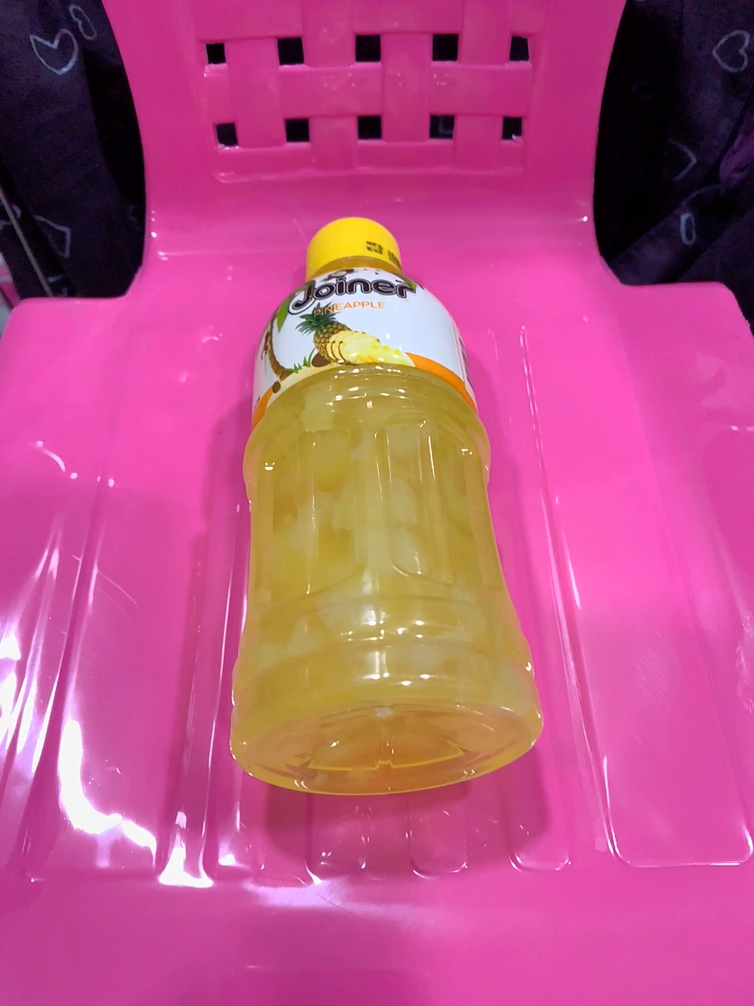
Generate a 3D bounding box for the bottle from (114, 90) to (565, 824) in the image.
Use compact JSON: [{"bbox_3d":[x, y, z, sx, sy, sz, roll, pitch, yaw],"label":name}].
[{"bbox_3d":[-0.008,-0.015,0.192,0.070,0.060,0.160,-13,58,13],"label":"bottle"}]
